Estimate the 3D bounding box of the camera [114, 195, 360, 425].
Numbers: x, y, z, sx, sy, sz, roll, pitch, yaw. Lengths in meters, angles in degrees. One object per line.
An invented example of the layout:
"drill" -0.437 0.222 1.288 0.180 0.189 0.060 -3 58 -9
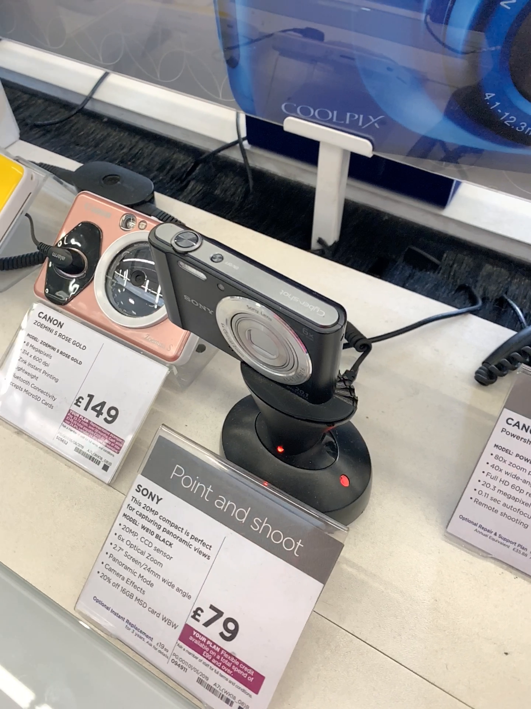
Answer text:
"camera" -0.014 -0.020 0.242 0.100 0.060 0.030 29 58 21
